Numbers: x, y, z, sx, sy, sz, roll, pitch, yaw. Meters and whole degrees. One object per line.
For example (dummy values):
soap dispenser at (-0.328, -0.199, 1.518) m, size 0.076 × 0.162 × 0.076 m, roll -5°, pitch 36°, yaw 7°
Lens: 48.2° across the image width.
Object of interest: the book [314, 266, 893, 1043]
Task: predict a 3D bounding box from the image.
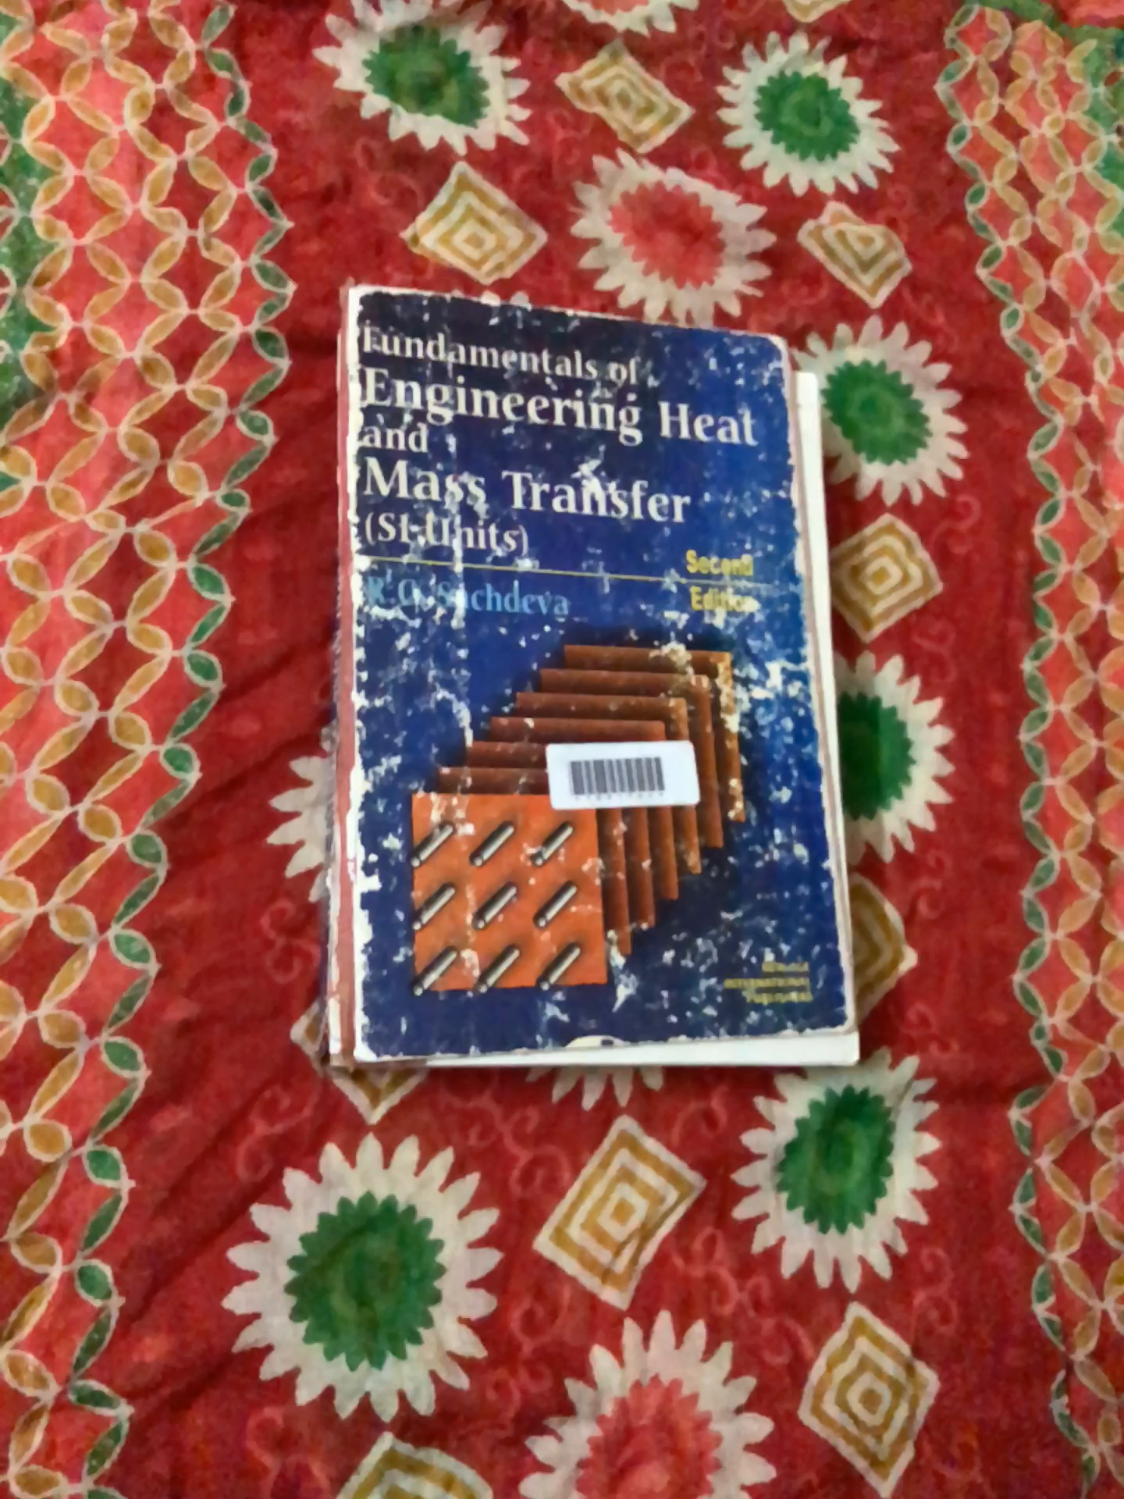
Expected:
book at (0.007, -0.026, 0.364) m, size 0.150 × 0.043 × 0.209 m, roll 0°, pitch 78°, yaw -15°
